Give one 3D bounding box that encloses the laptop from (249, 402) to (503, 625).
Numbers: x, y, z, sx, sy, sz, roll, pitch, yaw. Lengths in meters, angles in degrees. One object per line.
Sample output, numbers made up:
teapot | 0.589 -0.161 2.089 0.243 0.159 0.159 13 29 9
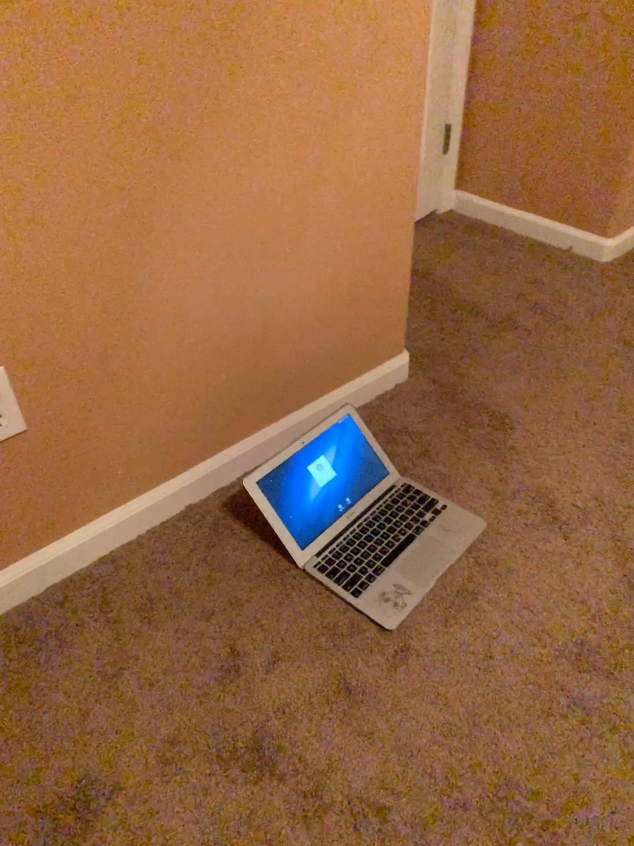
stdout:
laptop | 0.103 0.137 1.153 0.325 0.116 0.299 27 45 32
